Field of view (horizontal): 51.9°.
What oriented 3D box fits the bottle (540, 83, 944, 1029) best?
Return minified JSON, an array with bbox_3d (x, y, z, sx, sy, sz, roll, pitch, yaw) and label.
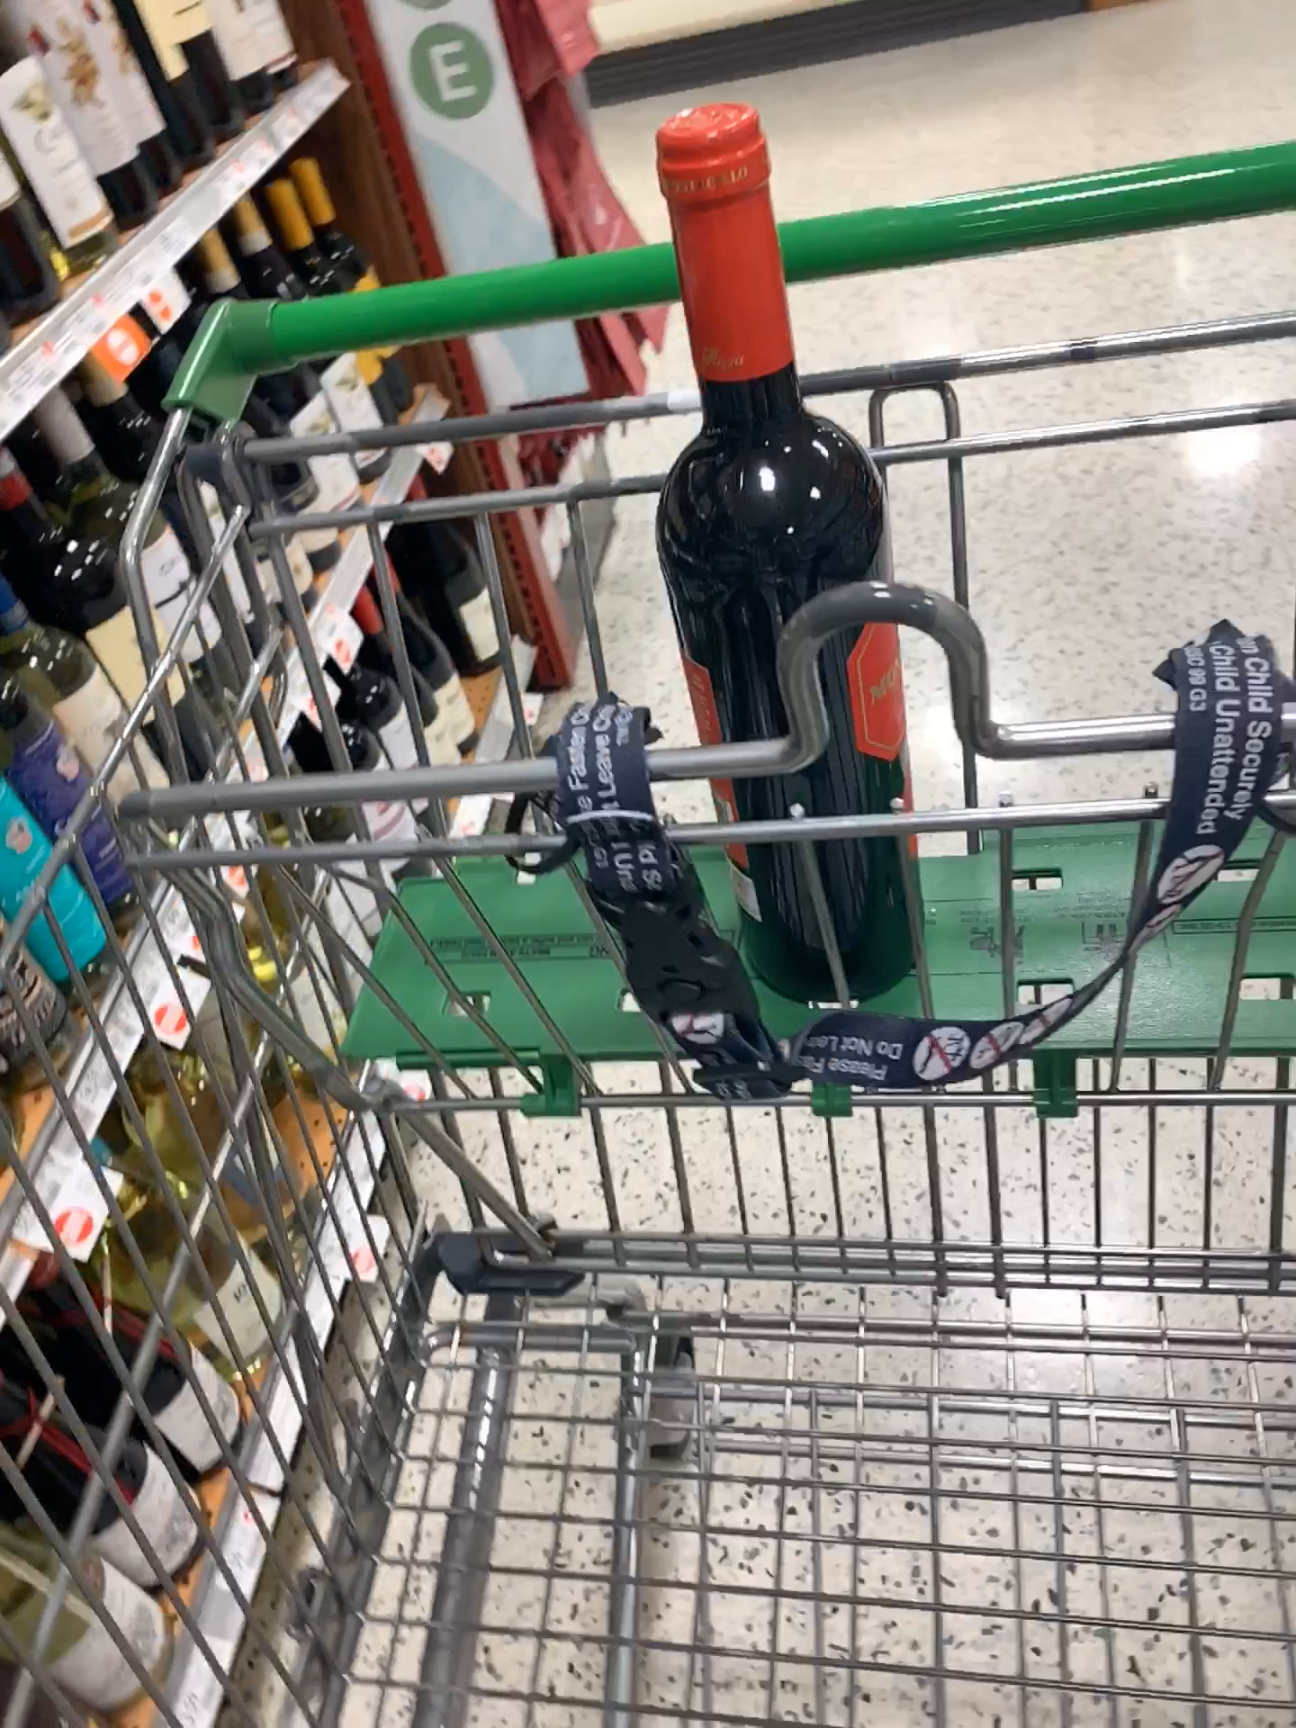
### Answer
[{"bbox_3d":[0.044,-0.077,0.444,0.080,0.297,0.081,-9,41,8],"label":"bottle"}]
